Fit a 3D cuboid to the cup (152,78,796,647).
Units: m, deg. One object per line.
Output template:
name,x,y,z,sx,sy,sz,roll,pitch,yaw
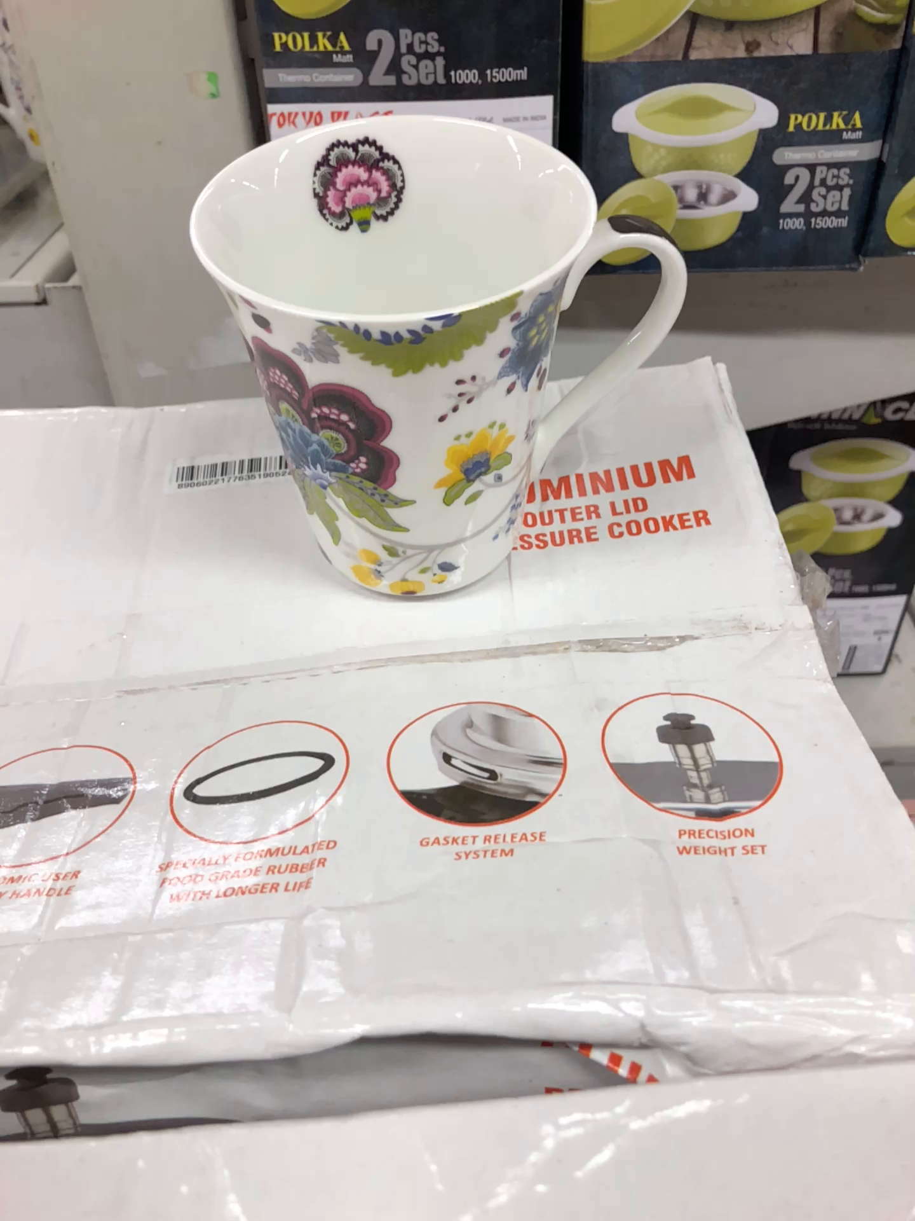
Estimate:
cup,-0.001,-0.062,0.252,0.120,0.089,0.080,-12,51,-10
